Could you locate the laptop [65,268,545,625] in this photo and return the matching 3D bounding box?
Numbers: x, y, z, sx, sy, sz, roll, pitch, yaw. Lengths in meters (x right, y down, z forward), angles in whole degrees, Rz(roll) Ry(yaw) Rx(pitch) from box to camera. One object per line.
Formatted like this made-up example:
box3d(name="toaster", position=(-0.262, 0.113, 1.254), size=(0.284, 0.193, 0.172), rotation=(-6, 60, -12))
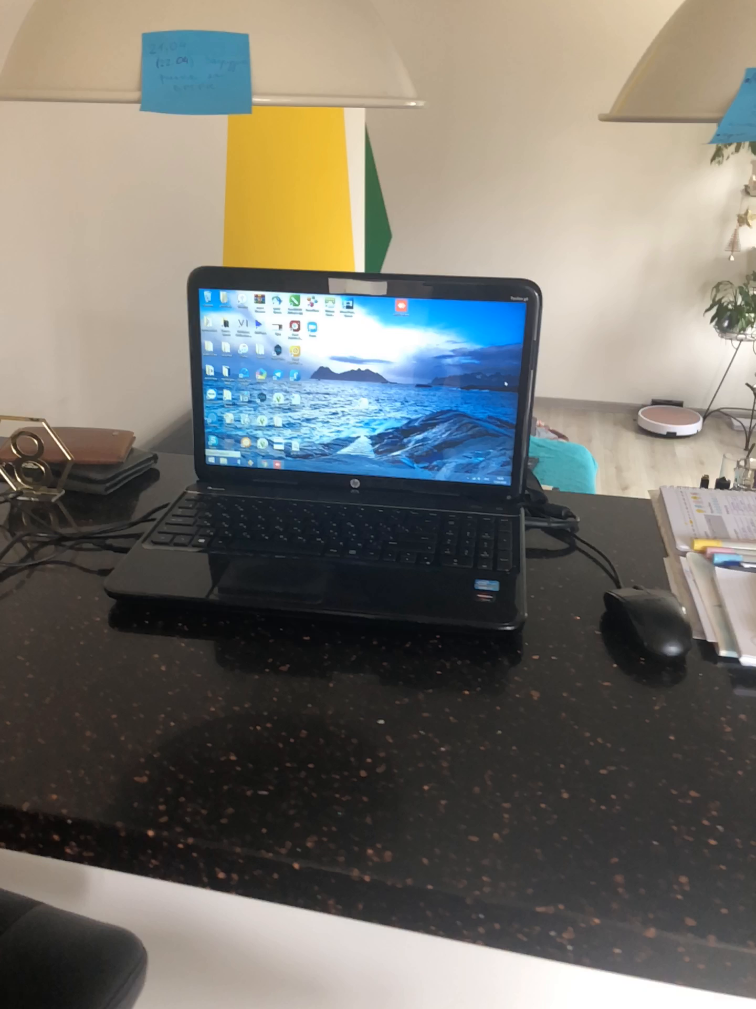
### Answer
box3d(name="laptop", position=(-0.040, -0.075, 0.776), size=(0.360, 0.217, 0.269), rotation=(4, 25, 8))
